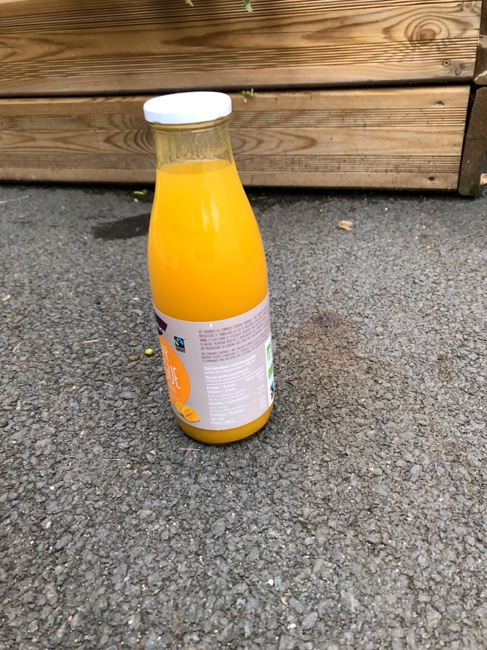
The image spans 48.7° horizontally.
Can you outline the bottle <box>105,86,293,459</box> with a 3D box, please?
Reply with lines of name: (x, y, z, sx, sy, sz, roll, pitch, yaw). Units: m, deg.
bottle: (-0.023, -0.030, 0.341, 0.080, 0.209, 0.080, -3, 30, 2)
